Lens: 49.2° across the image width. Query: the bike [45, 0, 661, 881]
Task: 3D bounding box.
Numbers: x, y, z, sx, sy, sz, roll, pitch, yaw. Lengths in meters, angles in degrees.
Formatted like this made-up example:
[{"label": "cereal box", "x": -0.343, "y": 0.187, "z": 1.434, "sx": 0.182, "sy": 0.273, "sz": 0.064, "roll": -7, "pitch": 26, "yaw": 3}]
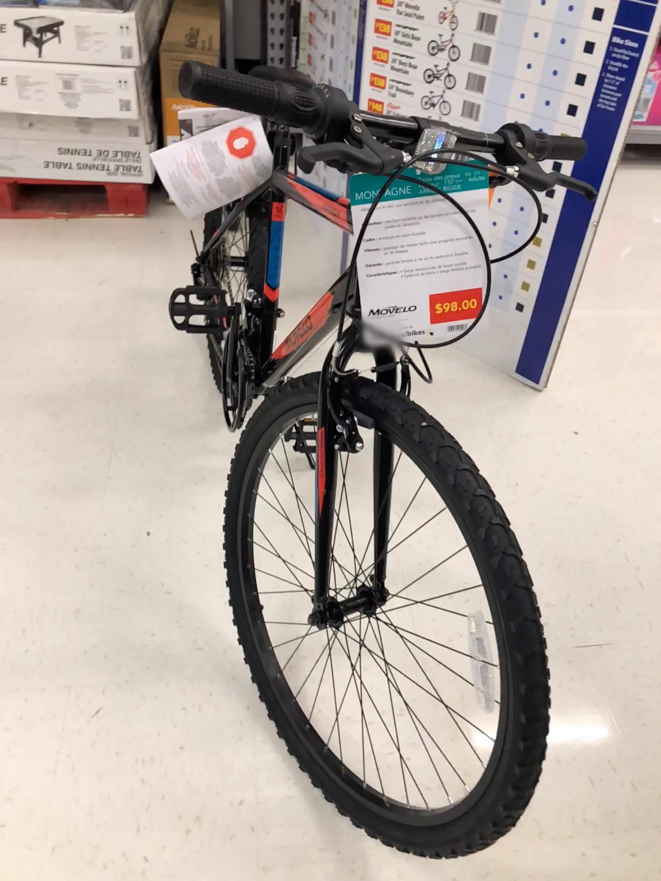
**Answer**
[{"label": "bike", "x": -0.026, "y": -0.146, "z": 1.106, "sx": 0.559, "sy": 0.942, "sz": 1.293, "roll": -8, "pitch": 41, "yaw": -14}]
